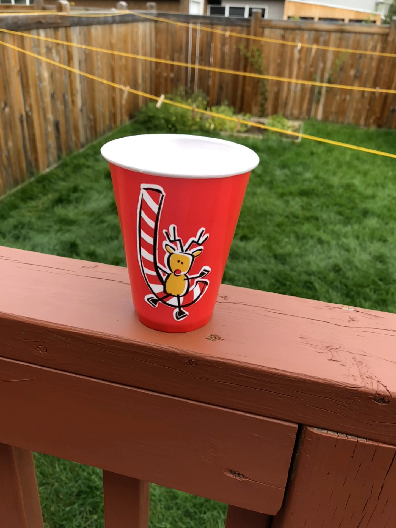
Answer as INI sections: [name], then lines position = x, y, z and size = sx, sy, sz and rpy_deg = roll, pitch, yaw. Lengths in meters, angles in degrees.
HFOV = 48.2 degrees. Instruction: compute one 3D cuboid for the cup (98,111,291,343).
[cup]
position = -0.005, -0.023, 0.242
size = 0.080, 0.100, 0.080
rpy_deg = 3, 28, -1
